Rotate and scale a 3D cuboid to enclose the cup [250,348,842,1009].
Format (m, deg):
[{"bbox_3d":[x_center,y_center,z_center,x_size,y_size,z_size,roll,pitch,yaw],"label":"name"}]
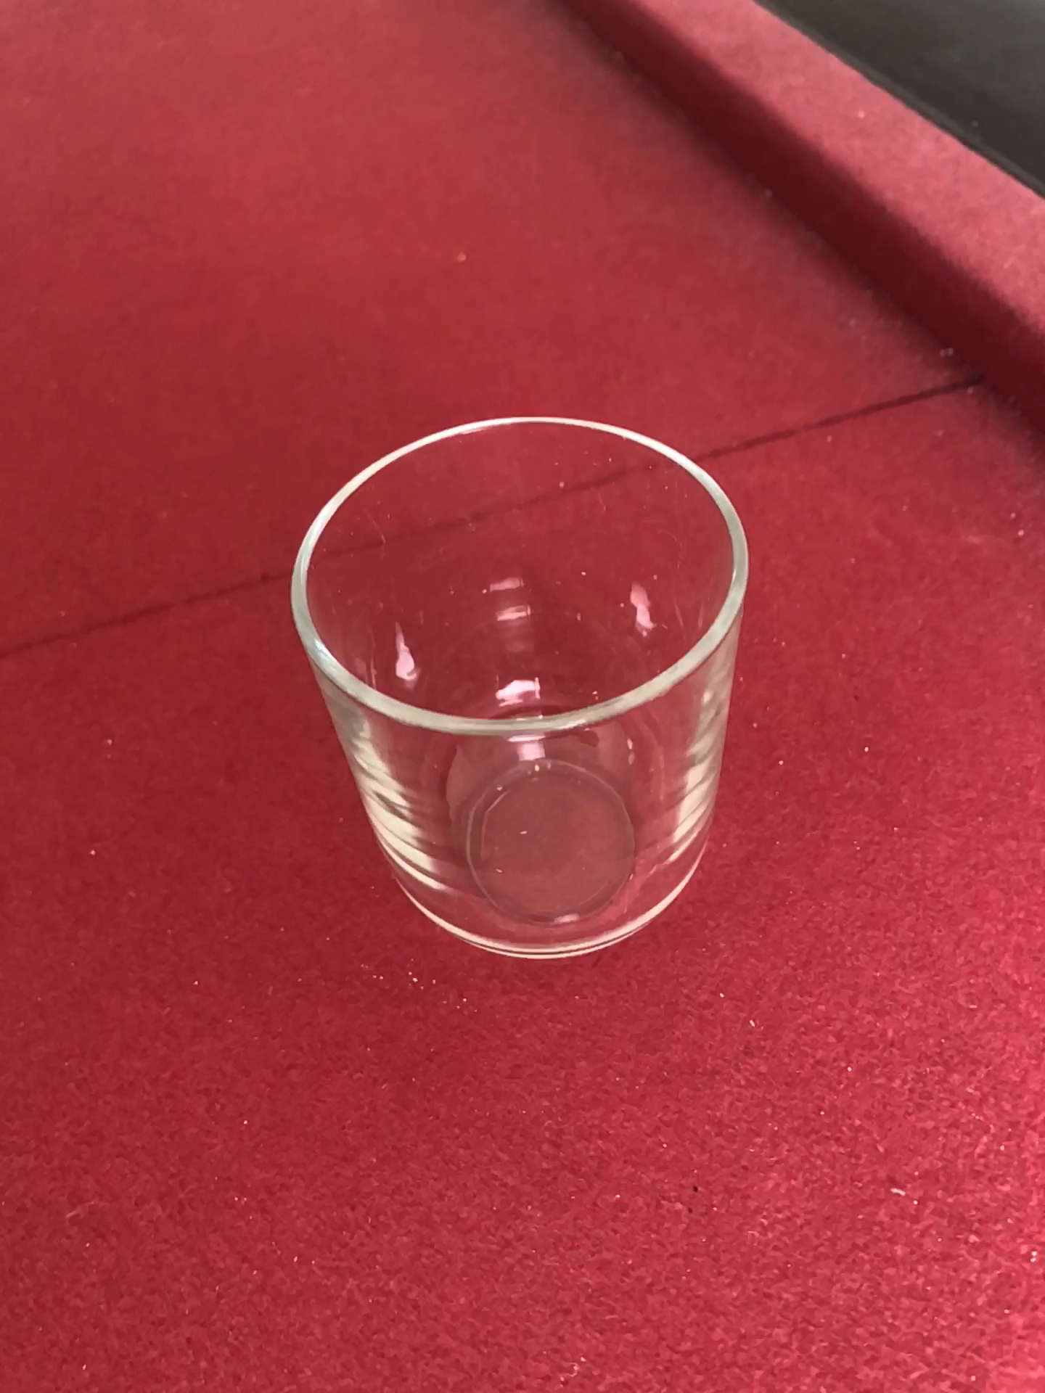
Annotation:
[{"bbox_3d":[0.000,-0.004,0.210,0.080,0.070,0.080,-3,48,3],"label":"cup"}]
